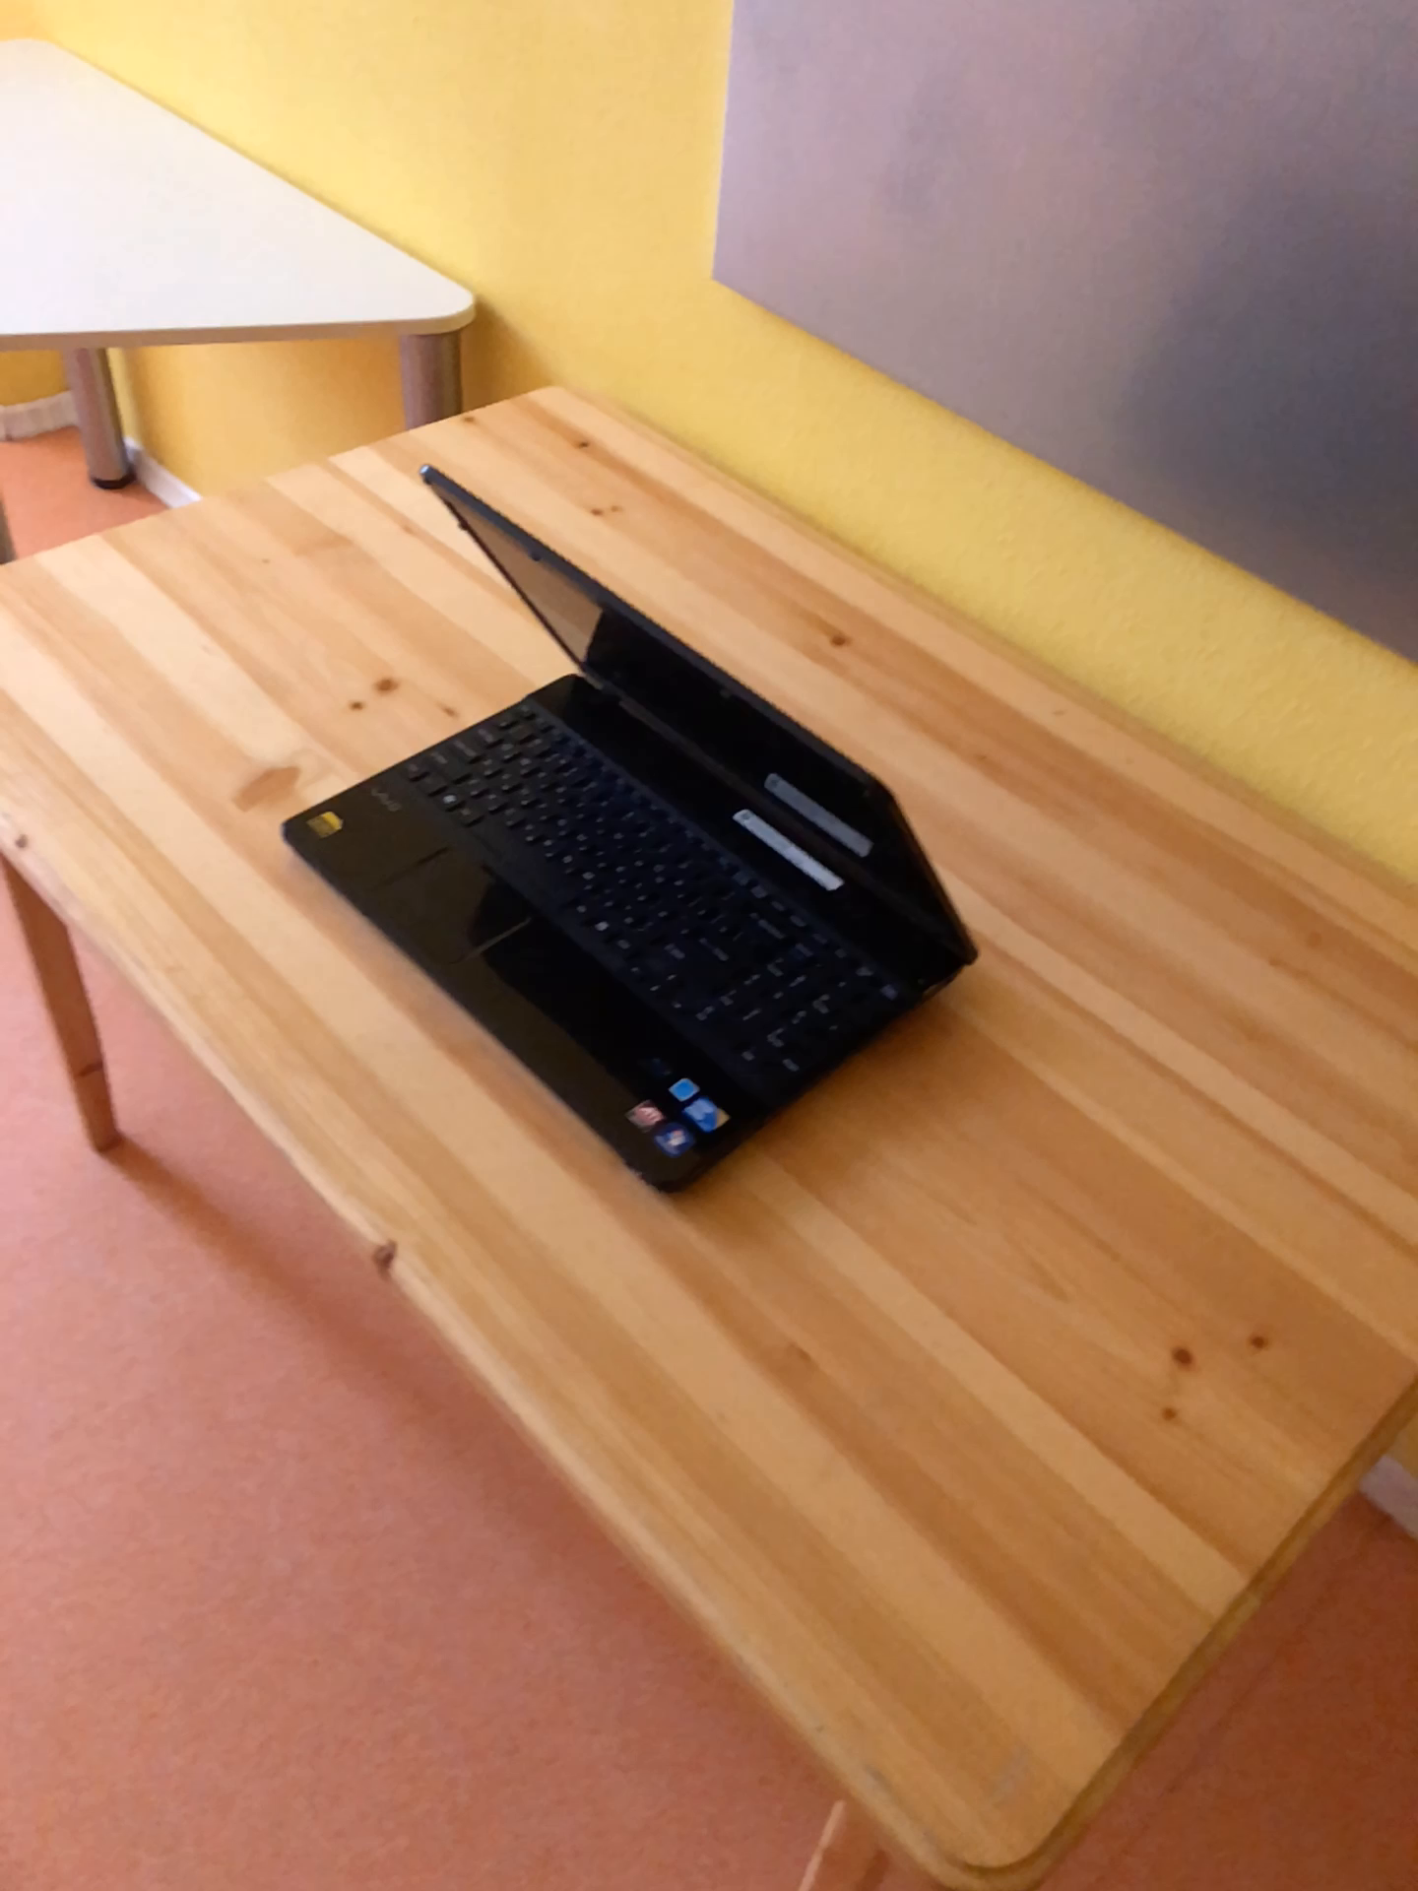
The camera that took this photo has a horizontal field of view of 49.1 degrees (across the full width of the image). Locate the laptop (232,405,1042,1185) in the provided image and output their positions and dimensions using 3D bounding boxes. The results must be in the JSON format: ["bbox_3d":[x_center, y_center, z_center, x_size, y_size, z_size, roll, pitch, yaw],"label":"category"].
[{"bbox_3d":[-0.052,-0.105,0.886,0.248,0.200,0.362,-32,56,-30],"label":"laptop"}]
